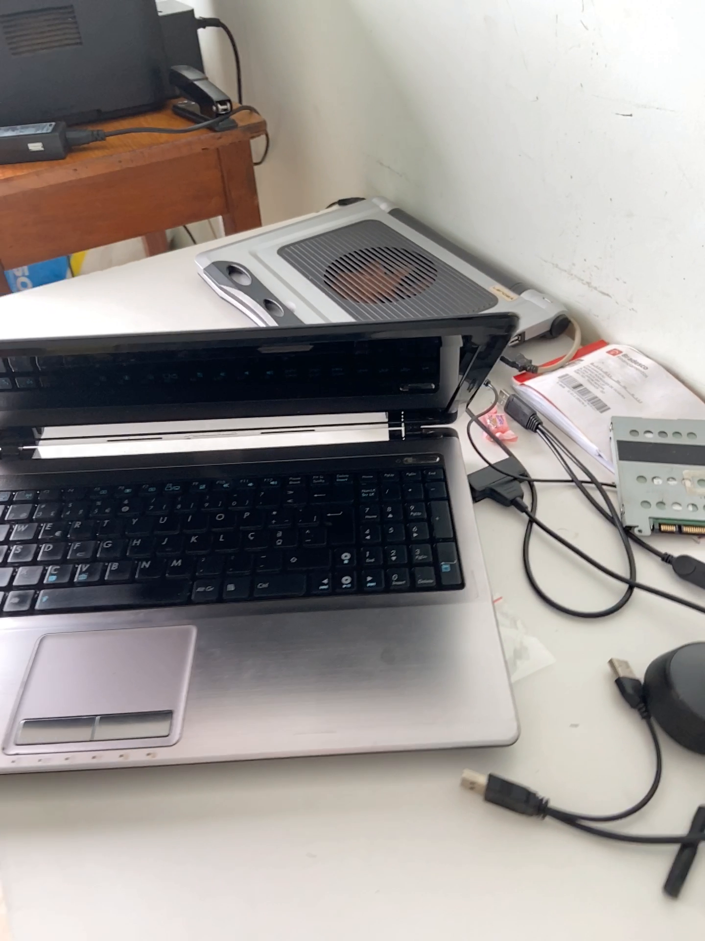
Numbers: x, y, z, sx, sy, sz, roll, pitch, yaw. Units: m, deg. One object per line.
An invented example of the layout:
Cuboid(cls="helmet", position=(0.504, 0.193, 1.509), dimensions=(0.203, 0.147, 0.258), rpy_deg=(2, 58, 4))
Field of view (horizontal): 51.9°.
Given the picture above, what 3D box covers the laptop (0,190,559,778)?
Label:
Cuboid(cls="laptop", position=(-0.114, -0.003, 0.401), dimensions=(0.376, 0.182, 0.247), rpy_deg=(-3, 43, 1))
